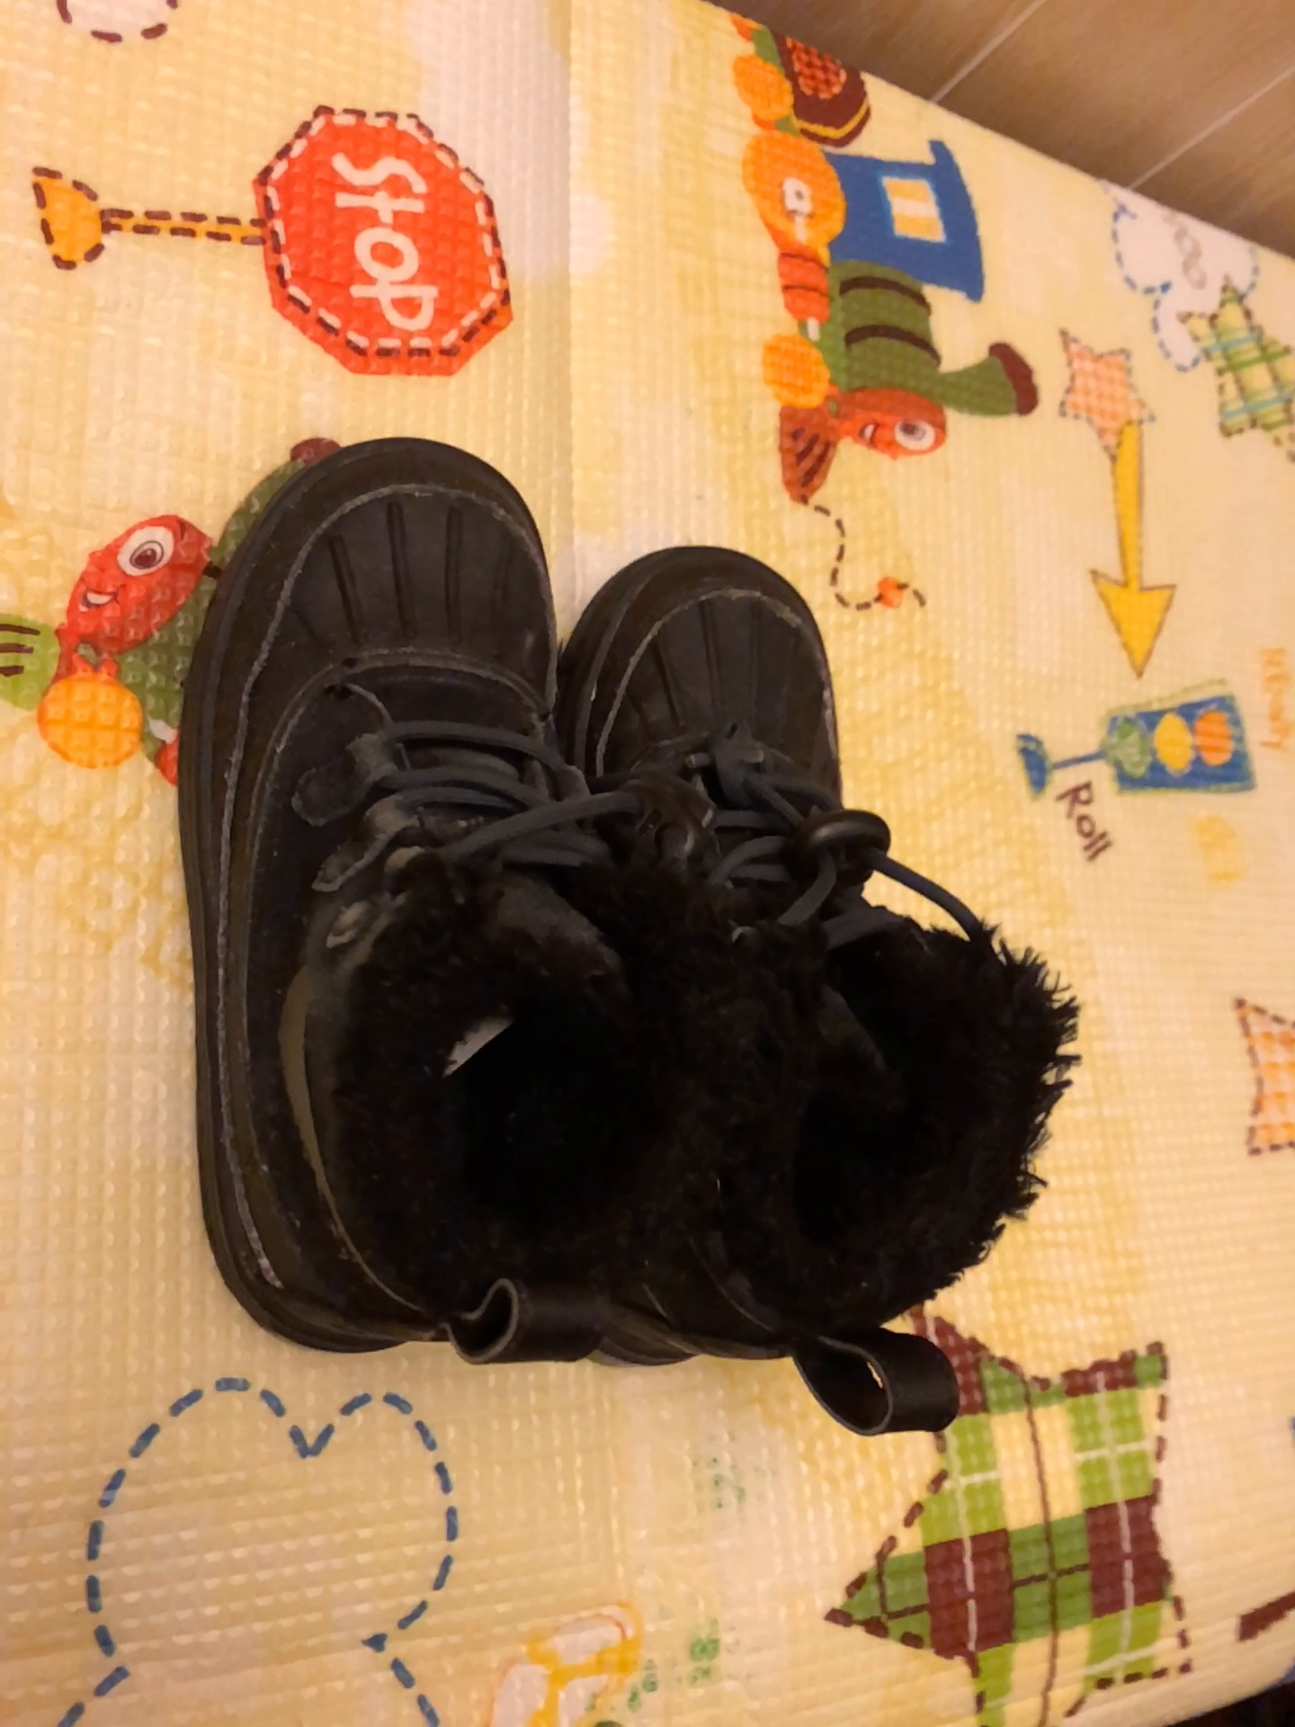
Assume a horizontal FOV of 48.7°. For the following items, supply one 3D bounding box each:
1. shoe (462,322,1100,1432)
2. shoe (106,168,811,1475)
[{"bbox_3d":[0.032,0.009,0.344,0.090,0.110,0.220,13,74,-27],"label":"shoe"},{"bbox_3d":[-0.041,-0.001,0.295,0.090,0.120,0.210,10,76,-28],"label":"shoe"}]
